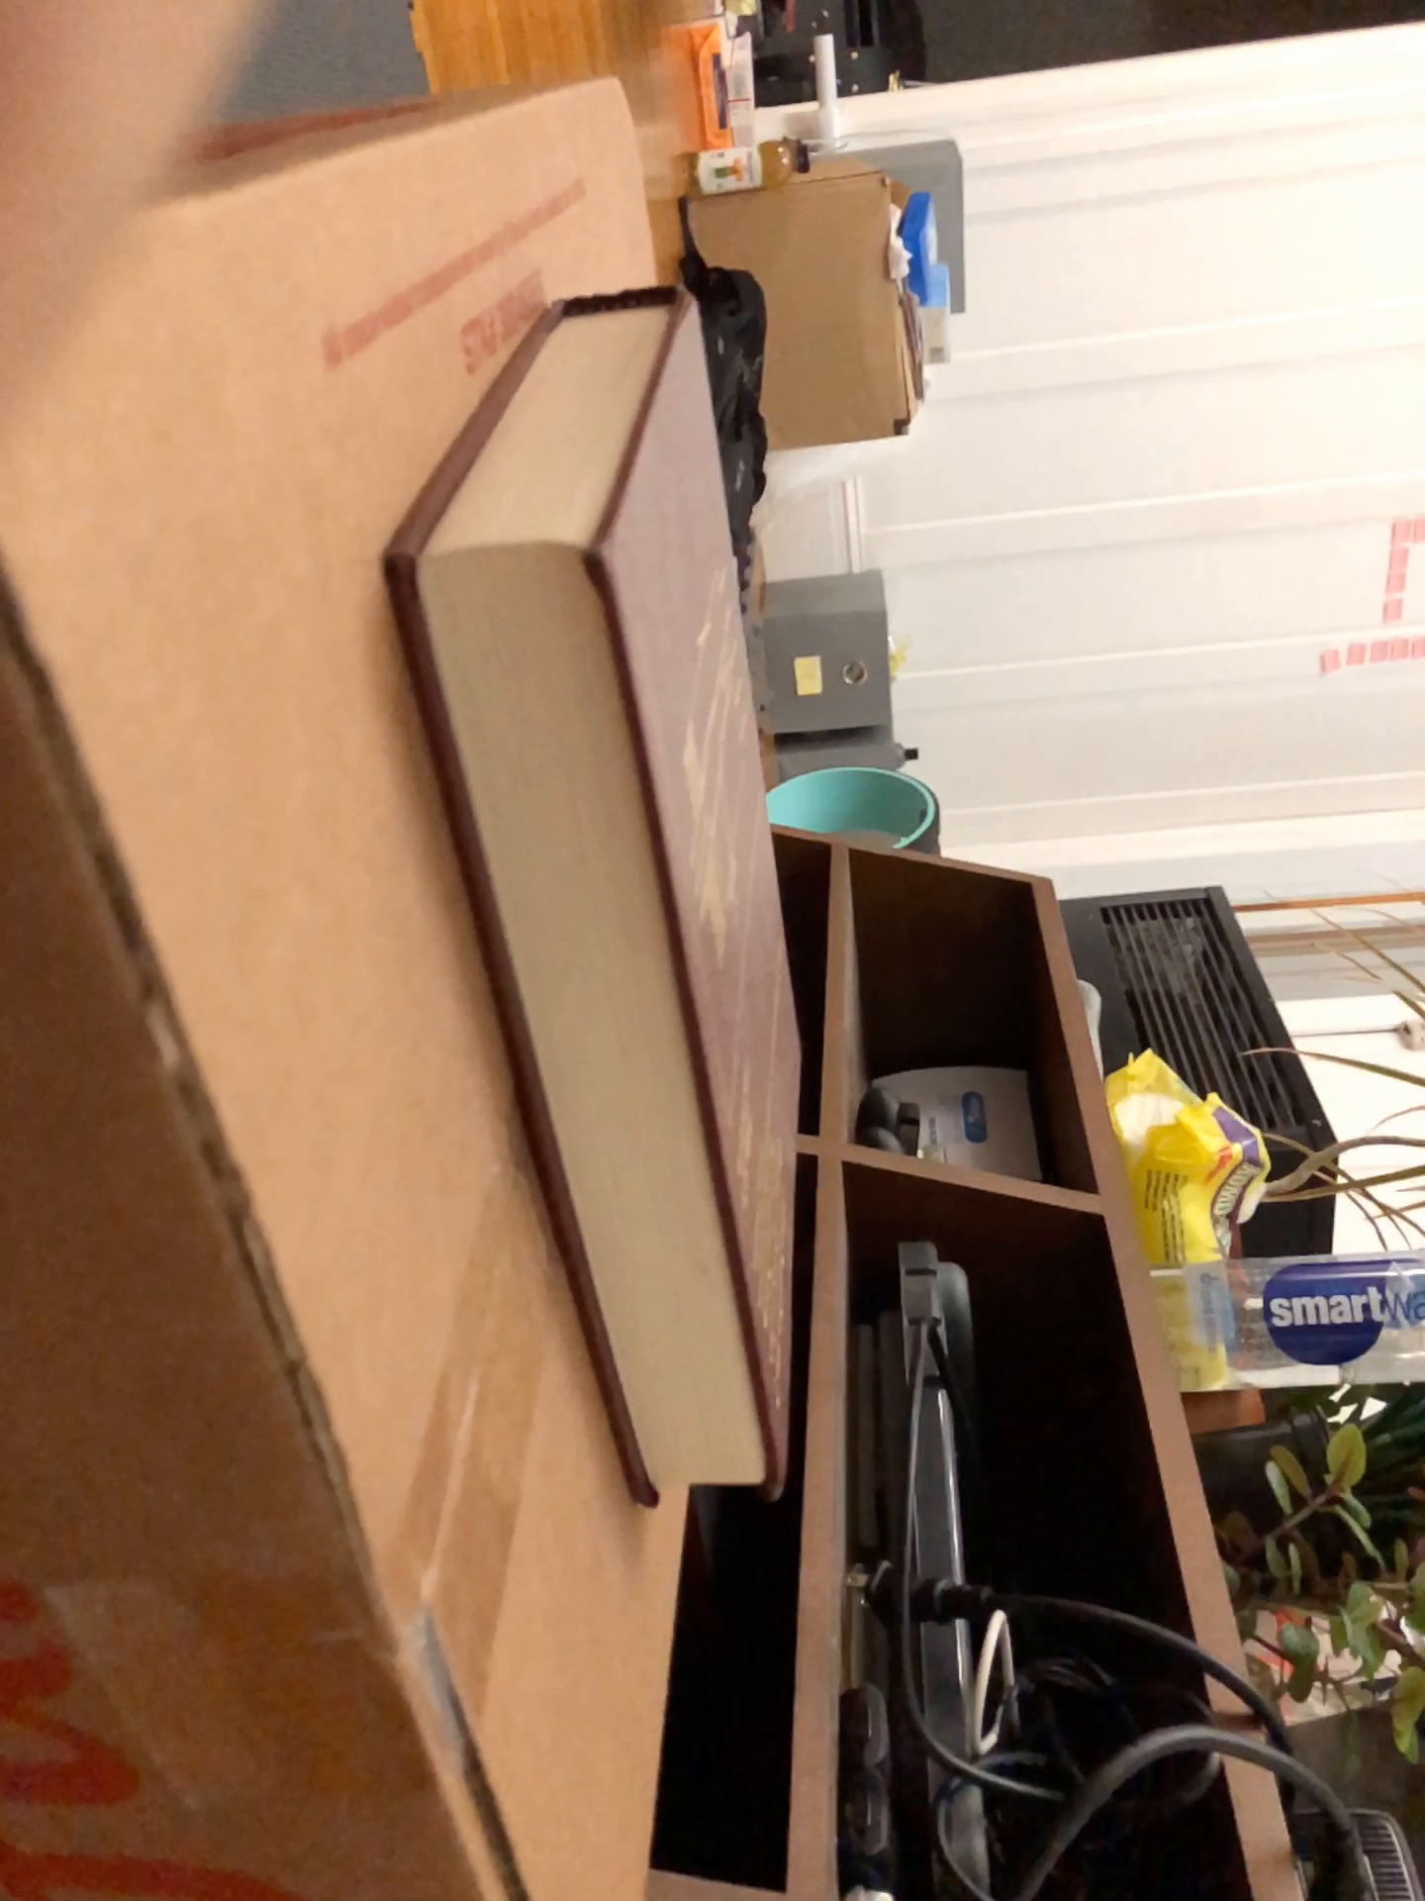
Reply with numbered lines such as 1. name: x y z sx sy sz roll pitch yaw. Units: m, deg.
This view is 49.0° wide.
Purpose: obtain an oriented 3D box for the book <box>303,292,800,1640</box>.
1. book: -0.014 -0.001 0.358 0.190 0.040 0.240 -84 167 -55
